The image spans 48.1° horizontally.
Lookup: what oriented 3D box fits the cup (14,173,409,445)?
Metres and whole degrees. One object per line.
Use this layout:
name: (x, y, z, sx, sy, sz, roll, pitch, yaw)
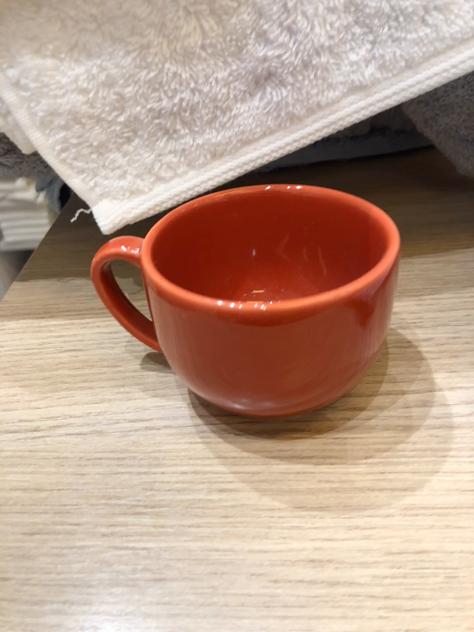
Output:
cup: (-0.002, -0.008, 0.178, 0.100, 0.050, 0.081, 1, 36, 9)
